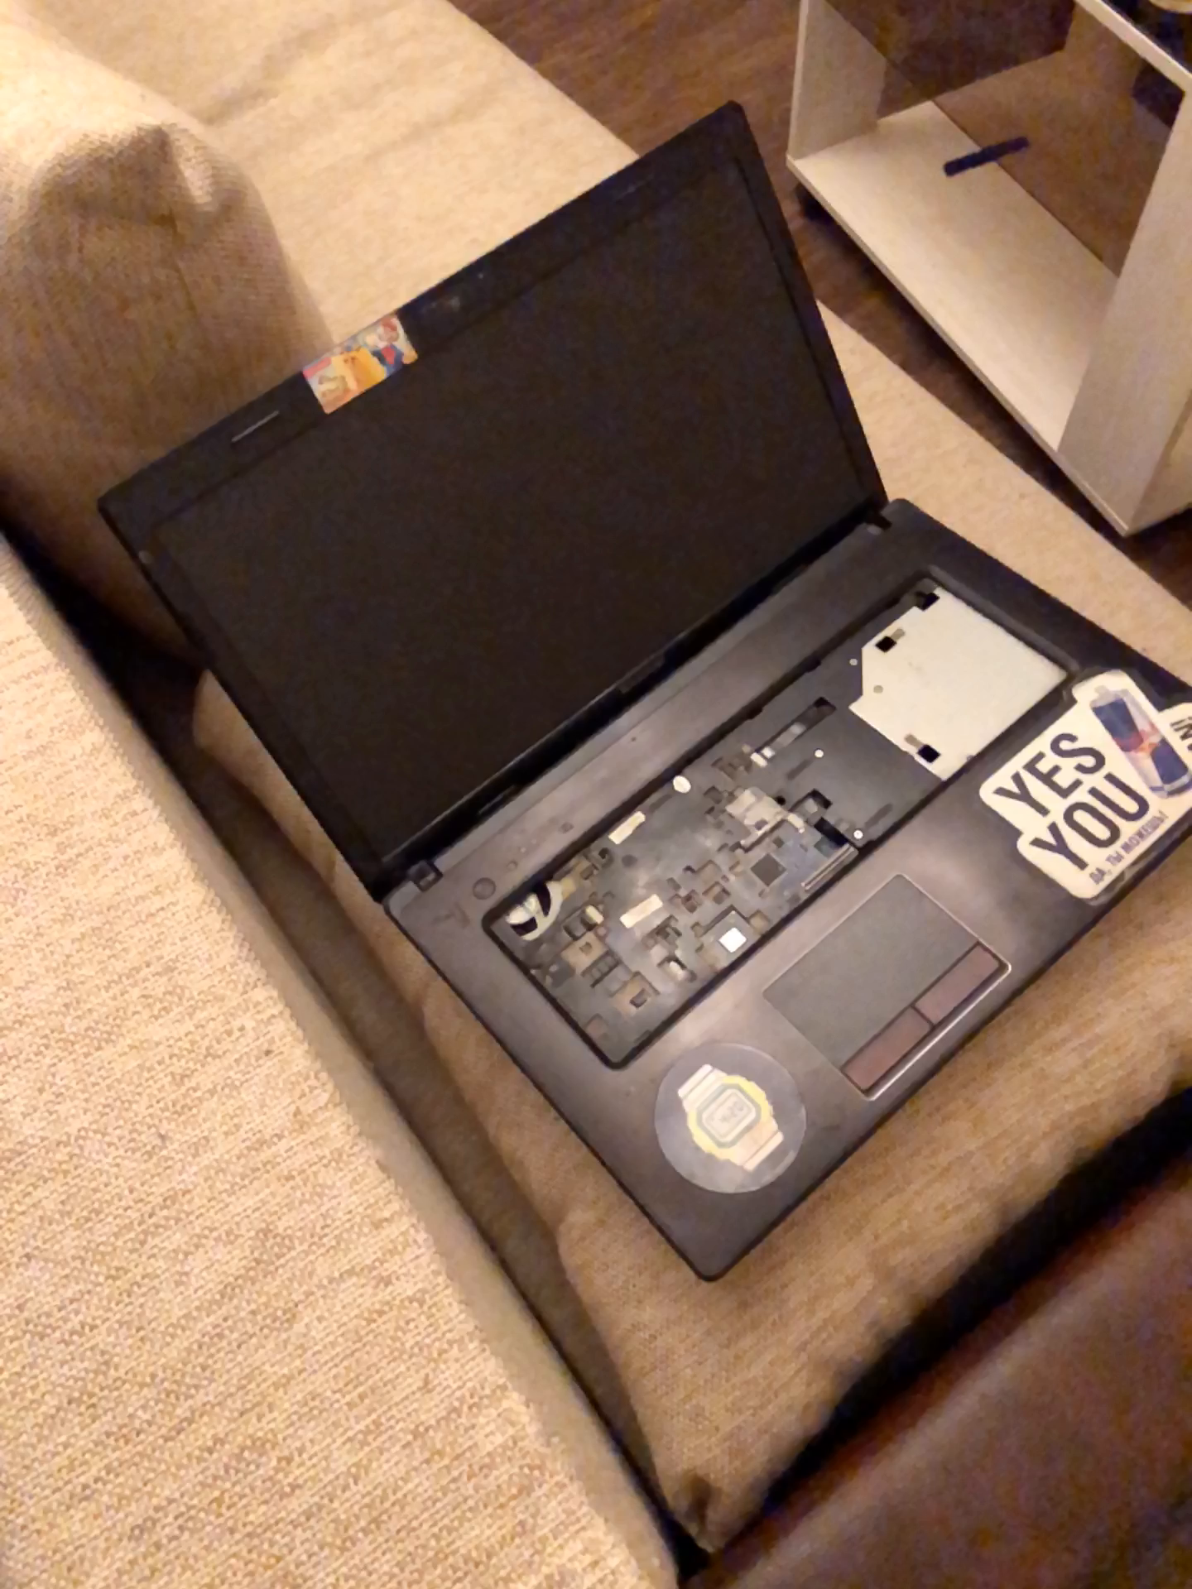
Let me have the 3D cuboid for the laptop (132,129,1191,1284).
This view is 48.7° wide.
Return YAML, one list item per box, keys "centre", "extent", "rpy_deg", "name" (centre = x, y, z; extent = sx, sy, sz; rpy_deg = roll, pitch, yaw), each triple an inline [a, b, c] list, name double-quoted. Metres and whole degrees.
- centre: [0.072, -0.073, 0.670]
  extent: [0.413, 0.198, 0.409]
  rpy_deg: [-38, 62, -16]
  name: "laptop"
